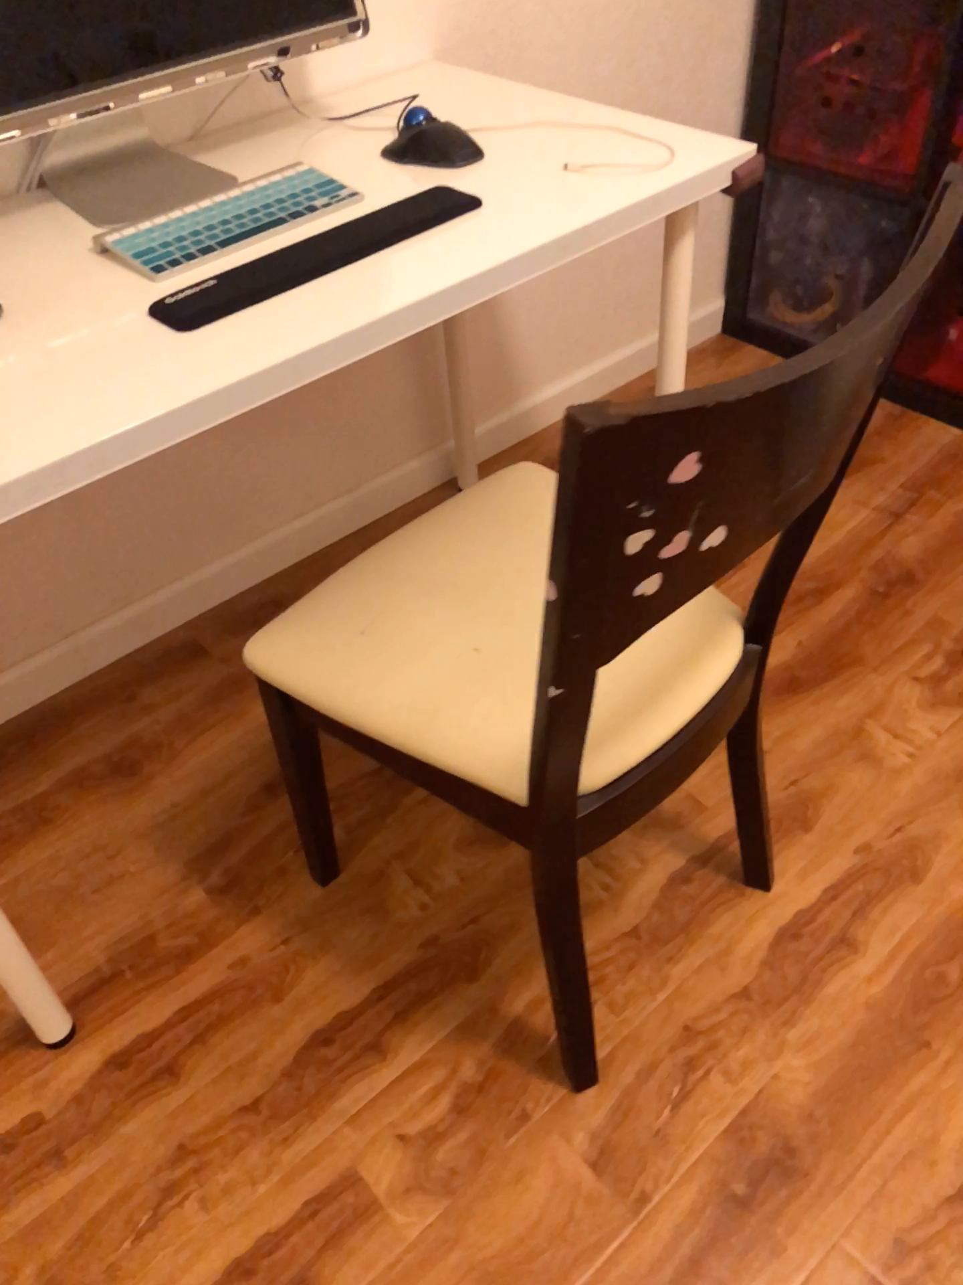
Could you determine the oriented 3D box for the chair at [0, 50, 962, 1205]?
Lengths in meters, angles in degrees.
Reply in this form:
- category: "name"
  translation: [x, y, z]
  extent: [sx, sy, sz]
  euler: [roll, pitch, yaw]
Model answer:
- category: "chair"
  translation: [0.049, -0.033, 1.131]
  extent: [0.572, 0.885, 0.662]
  euler: [-35, 50, -29]
